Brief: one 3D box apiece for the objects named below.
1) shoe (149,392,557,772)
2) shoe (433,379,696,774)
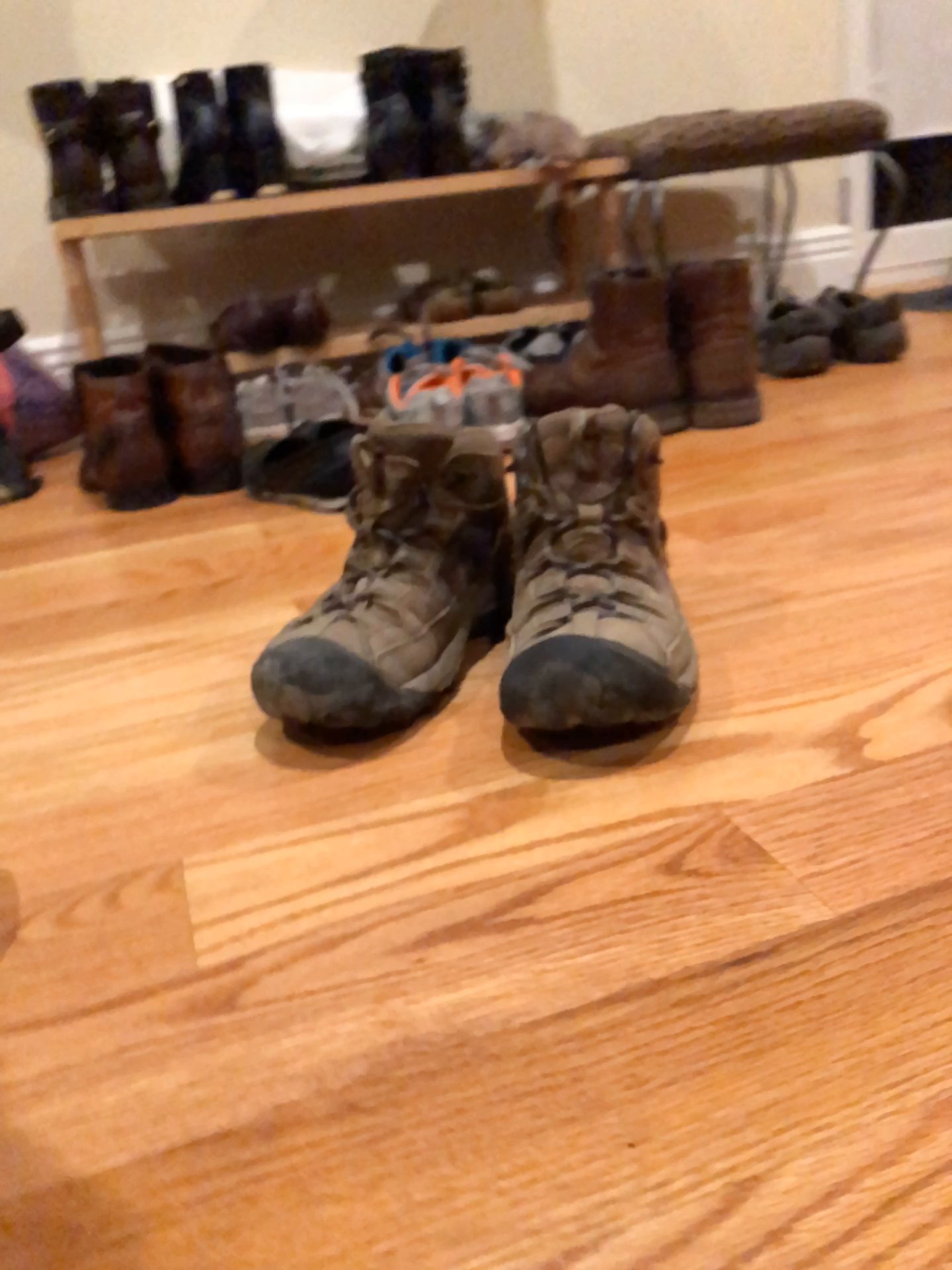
[{"bbox_3d":[-0.052,-0.048,0.629,0.107,0.139,0.260,3,23,24],"label":"shoe"},{"bbox_3d":[0.062,-0.049,0.595,0.107,0.139,0.261,-3,21,11],"label":"shoe"}]
